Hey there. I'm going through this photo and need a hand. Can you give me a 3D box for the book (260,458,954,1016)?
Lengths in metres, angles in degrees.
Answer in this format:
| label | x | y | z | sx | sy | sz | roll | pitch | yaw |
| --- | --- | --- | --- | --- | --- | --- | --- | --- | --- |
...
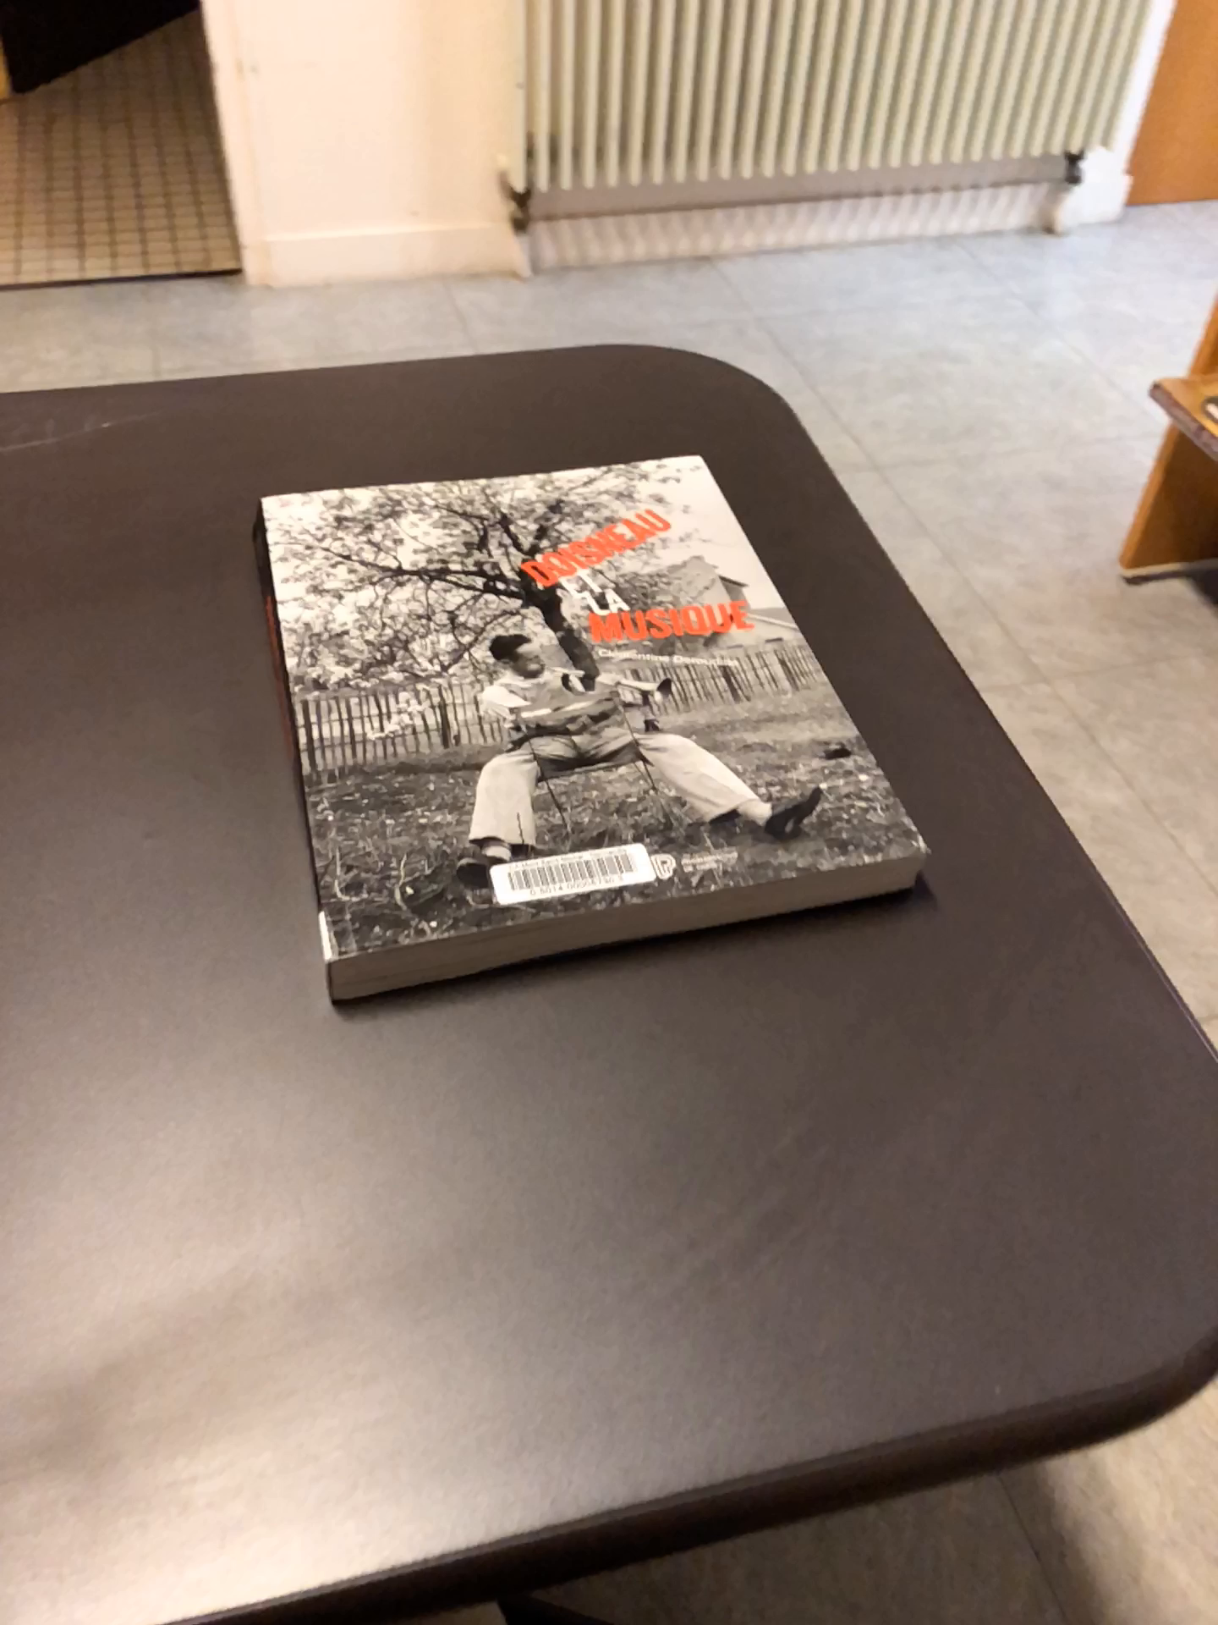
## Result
| label | x | y | z | sx | sy | sz | roll | pitch | yaw |
| --- | --- | --- | --- | --- | --- | --- | --- | --- | --- |
| book | -0.019 | -0.048 | 0.492 | 0.194 | 0.030 | 0.251 | -8 | 44 | -12 |
